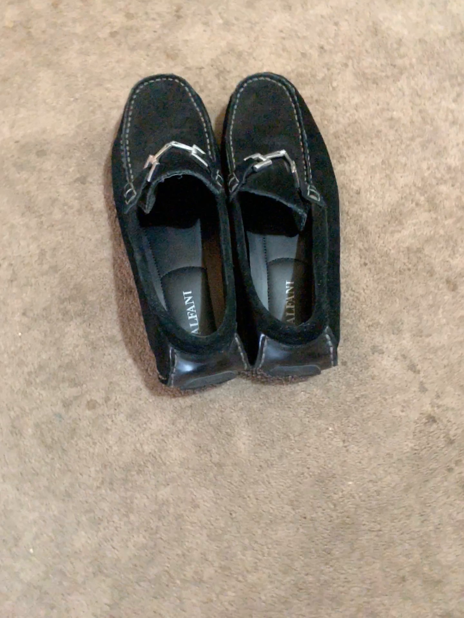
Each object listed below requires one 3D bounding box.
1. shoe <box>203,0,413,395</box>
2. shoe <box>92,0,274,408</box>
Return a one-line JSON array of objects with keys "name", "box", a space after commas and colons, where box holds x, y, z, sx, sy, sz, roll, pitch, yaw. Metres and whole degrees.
[{"name": "shoe", "box": [0.043, -0.097, 0.395, 0.100, 0.100, 0.311, -5, 71, -7]}, {"name": "shoe", "box": [-0.047, -0.090, 0.378, 0.100, 0.100, 0.311, -5, 71, -7]}]
